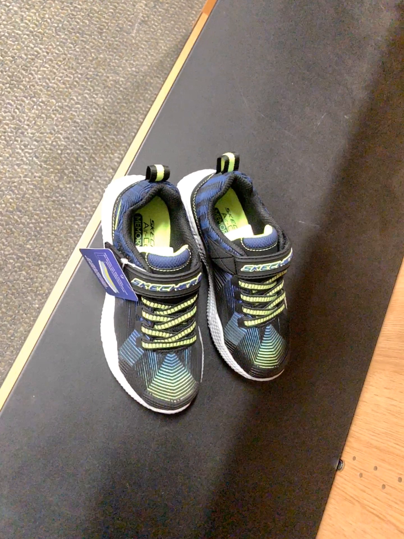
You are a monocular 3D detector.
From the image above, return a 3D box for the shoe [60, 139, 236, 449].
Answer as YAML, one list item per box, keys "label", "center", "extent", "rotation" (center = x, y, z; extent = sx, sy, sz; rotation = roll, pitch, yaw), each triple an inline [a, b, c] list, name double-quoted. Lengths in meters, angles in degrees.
- label: "shoe"
  center: [-0.053, 0.014, 0.358]
  extent: [0.098, 0.100, 0.220]
  rotation: [-8, 88, -22]

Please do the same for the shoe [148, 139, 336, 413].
- label: "shoe"
  center: [0.033, 0.005, 0.404]
  extent: [0.092, 0.100, 0.220]
  rotation: [-15, 90, -22]
